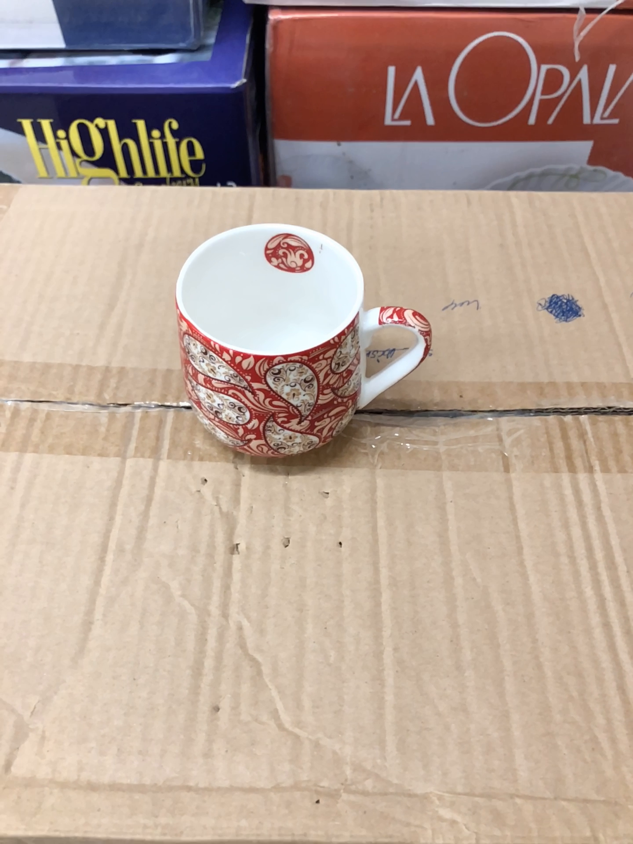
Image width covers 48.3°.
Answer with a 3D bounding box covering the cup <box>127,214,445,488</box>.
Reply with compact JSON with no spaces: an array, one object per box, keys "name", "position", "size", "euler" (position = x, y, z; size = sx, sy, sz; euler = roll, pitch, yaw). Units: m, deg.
[{"name":"cup","position":[-0.011,-0.025,0.246],"size":[0.090,0.060,0.070],"euler":[-2,49,-3]}]
